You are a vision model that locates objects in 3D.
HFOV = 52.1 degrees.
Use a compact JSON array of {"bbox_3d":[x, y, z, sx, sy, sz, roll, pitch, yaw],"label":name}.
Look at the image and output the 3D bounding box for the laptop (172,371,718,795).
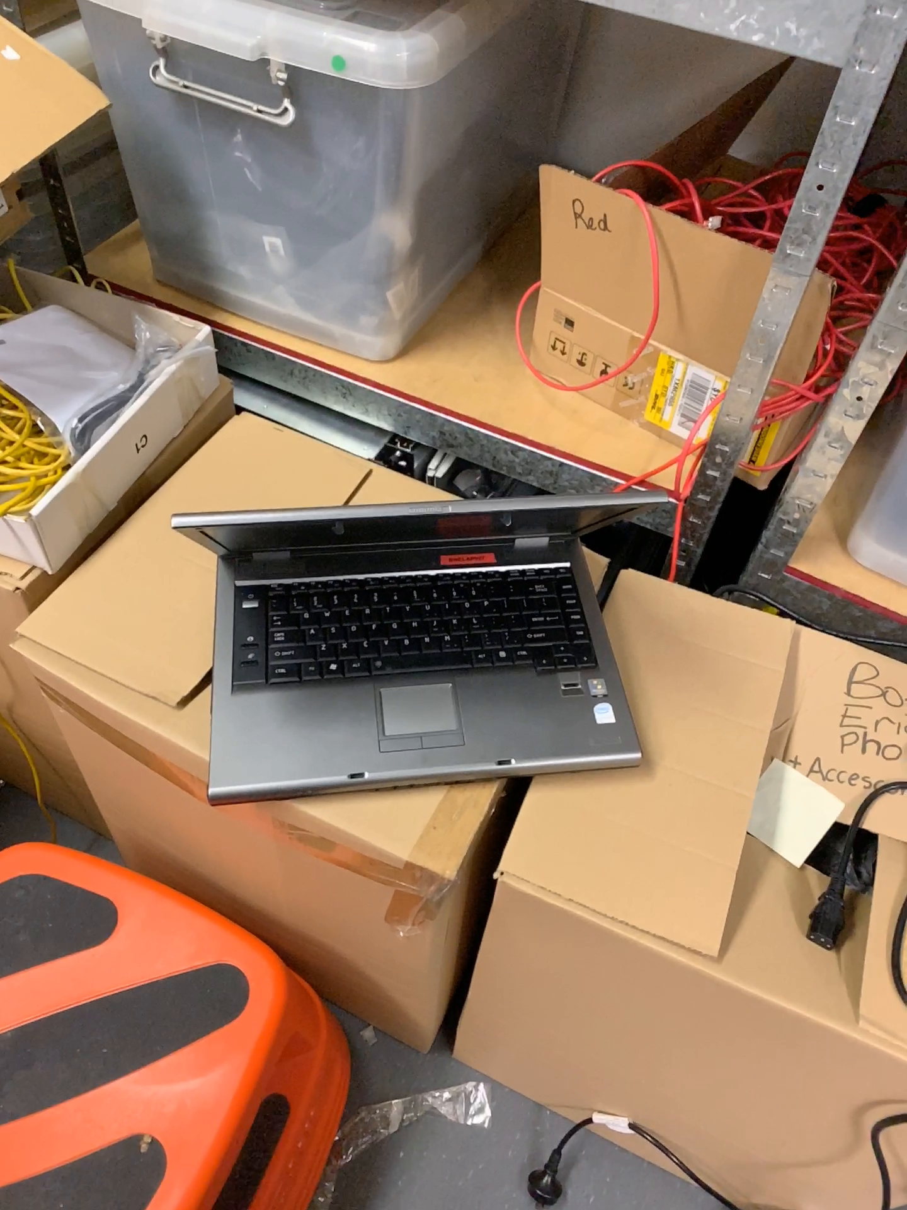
[{"bbox_3d":[-0.025,-0.022,0.752,0.352,0.203,0.254,-4,51,-7],"label":"laptop"}]
